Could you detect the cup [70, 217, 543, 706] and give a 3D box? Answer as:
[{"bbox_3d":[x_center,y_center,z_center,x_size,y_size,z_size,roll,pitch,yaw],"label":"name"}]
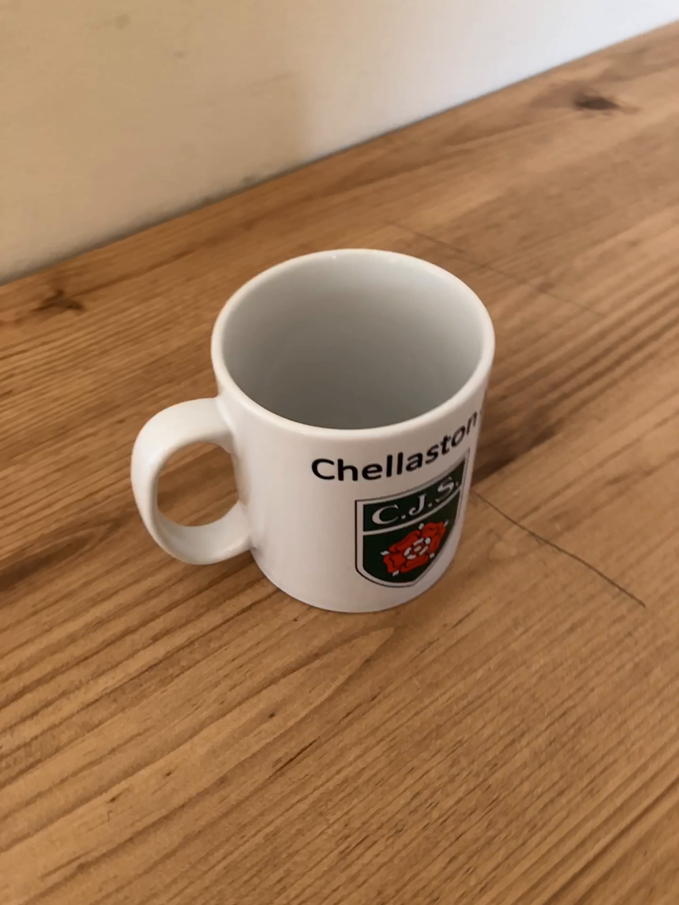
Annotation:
[{"bbox_3d":[-0.008,0.002,0.252,0.110,0.095,0.084,-26,50,-15],"label":"cup"}]
